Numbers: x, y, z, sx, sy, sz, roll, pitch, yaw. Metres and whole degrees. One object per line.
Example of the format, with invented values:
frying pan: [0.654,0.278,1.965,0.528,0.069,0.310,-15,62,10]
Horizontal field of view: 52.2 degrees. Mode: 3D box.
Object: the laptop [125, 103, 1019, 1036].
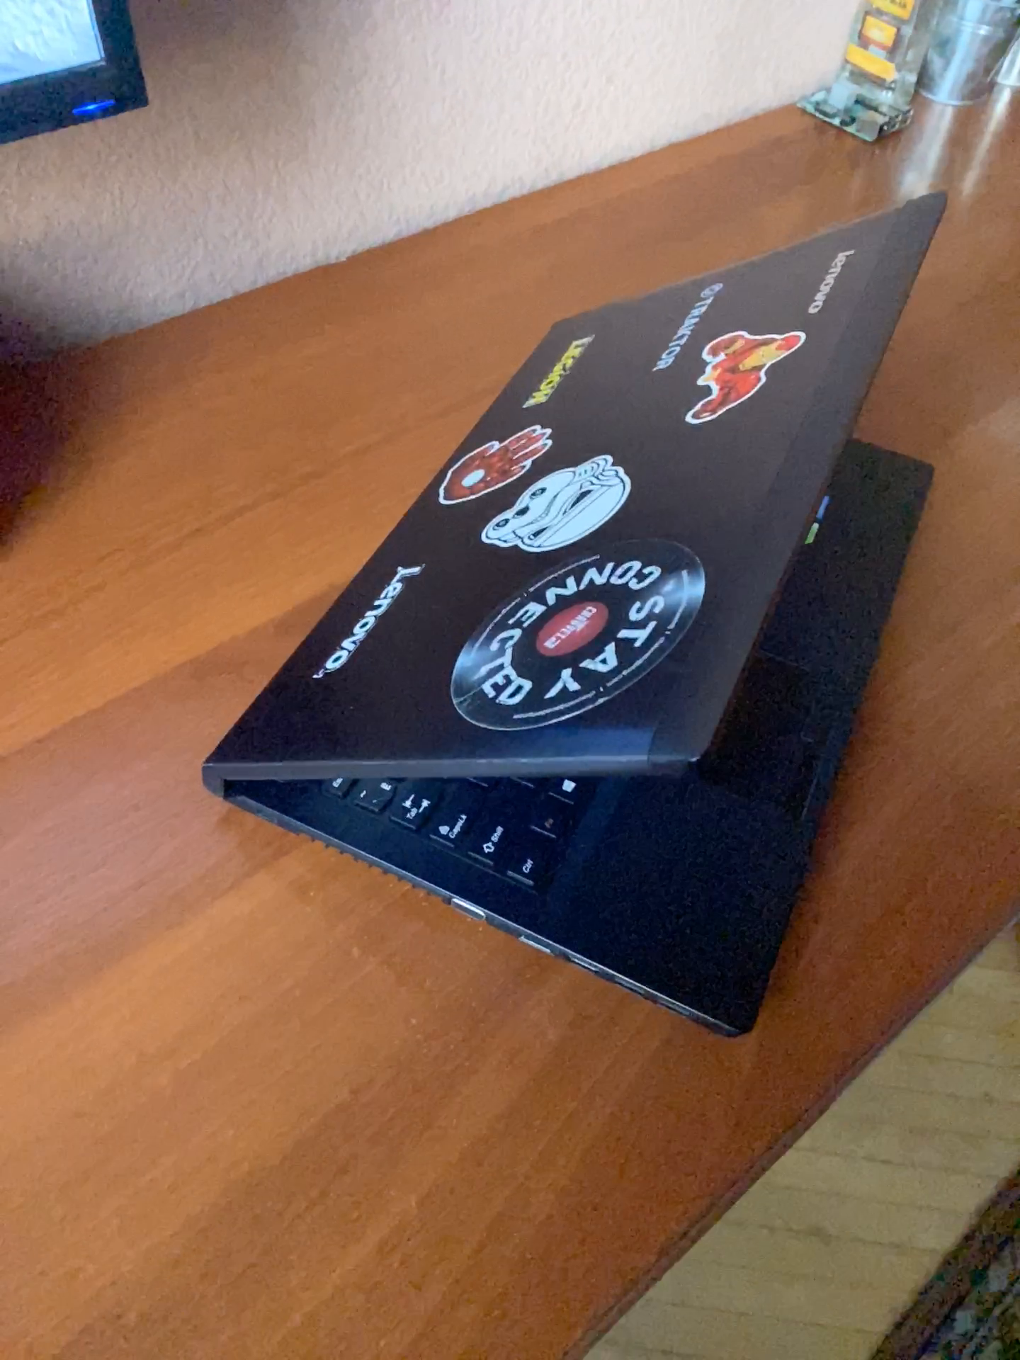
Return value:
laptop: [0.063,-0.088,0.484,0.256,0.149,0.379,23,53,12]
